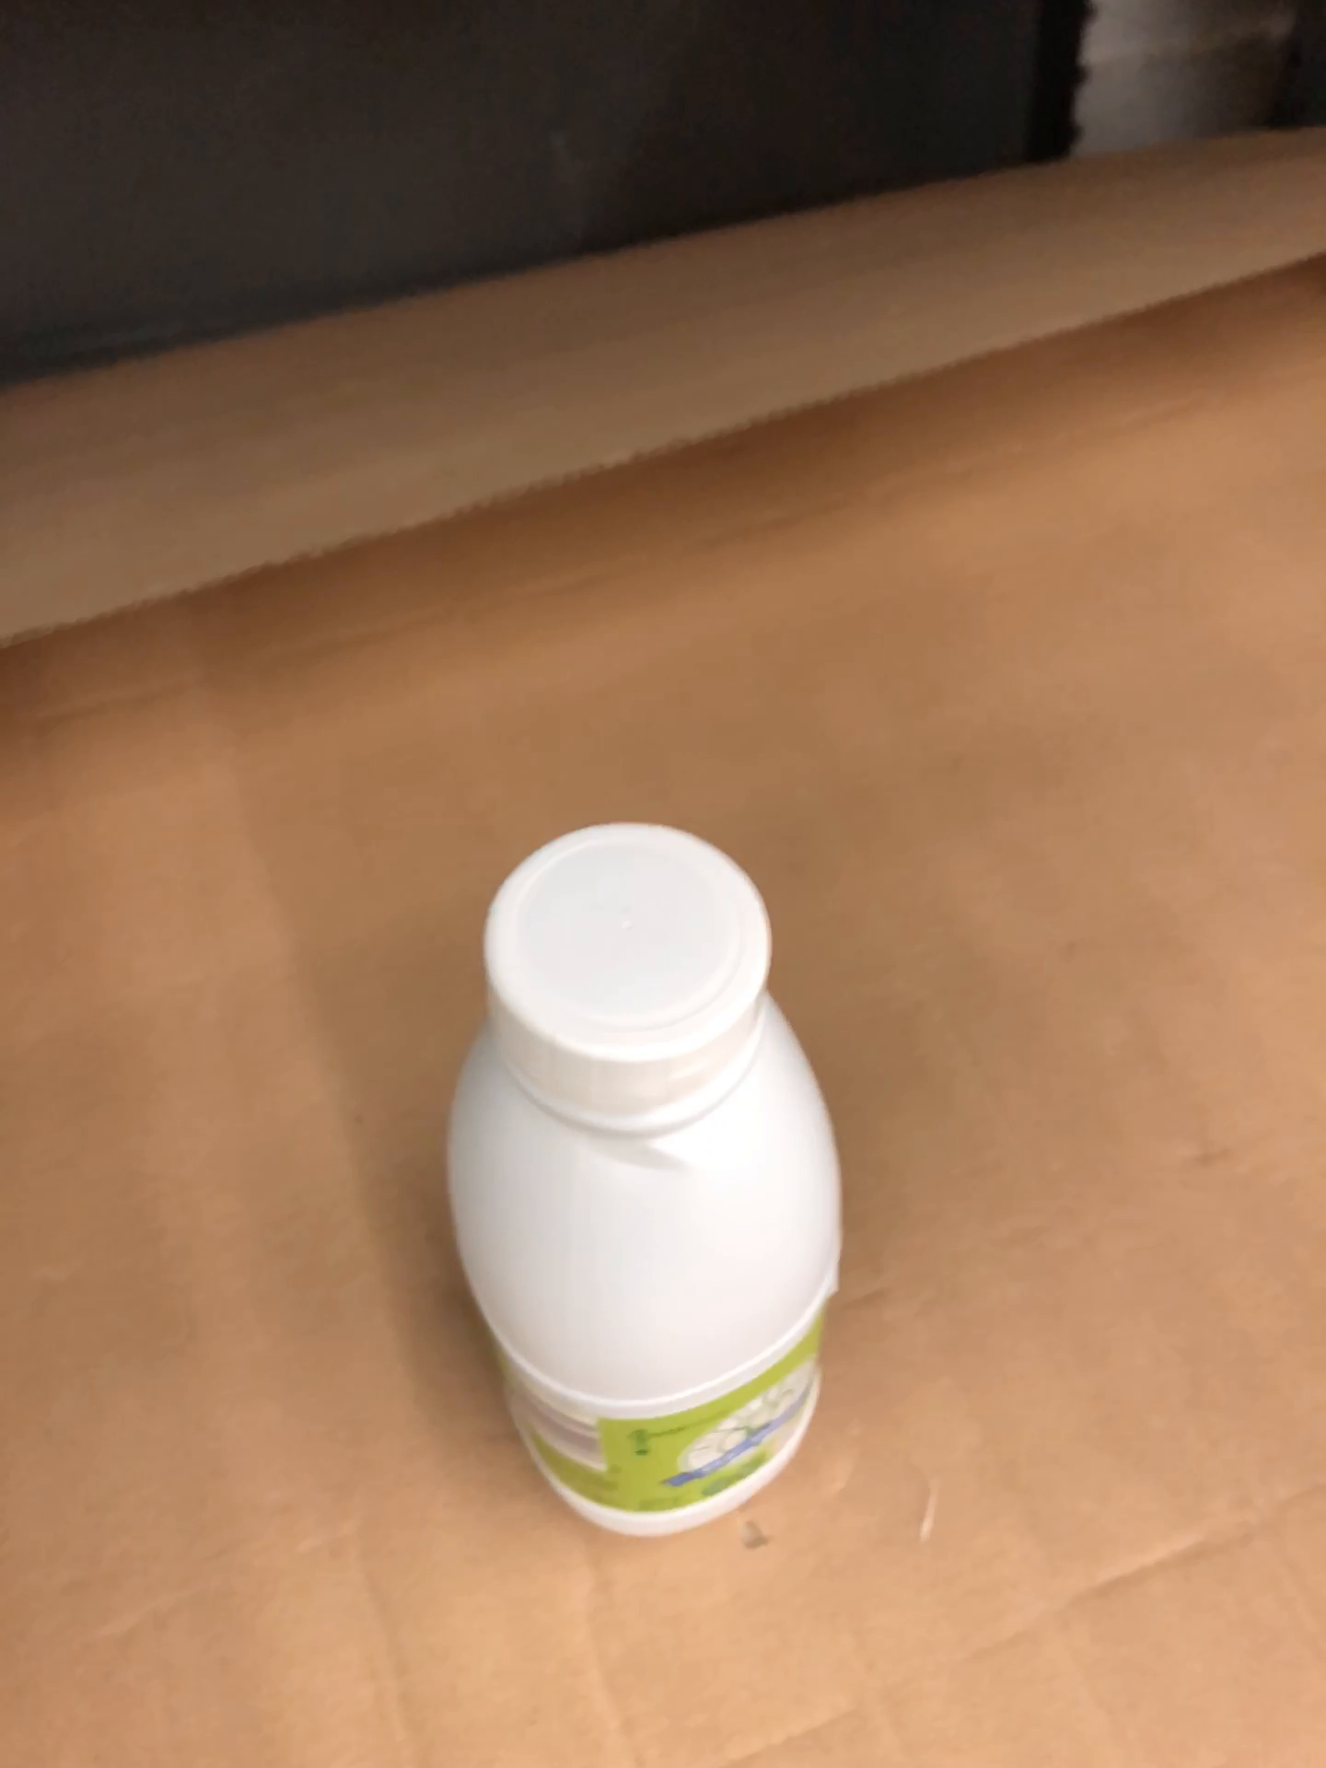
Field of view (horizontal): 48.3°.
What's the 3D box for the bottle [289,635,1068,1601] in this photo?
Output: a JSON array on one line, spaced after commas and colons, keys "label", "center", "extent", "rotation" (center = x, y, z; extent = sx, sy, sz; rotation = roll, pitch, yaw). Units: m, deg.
[{"label": "bottle", "center": [0.004, 0.073, 0.338], "extent": [0.100, 0.239, 0.080], "rotation": [-28, 58, -18]}]
